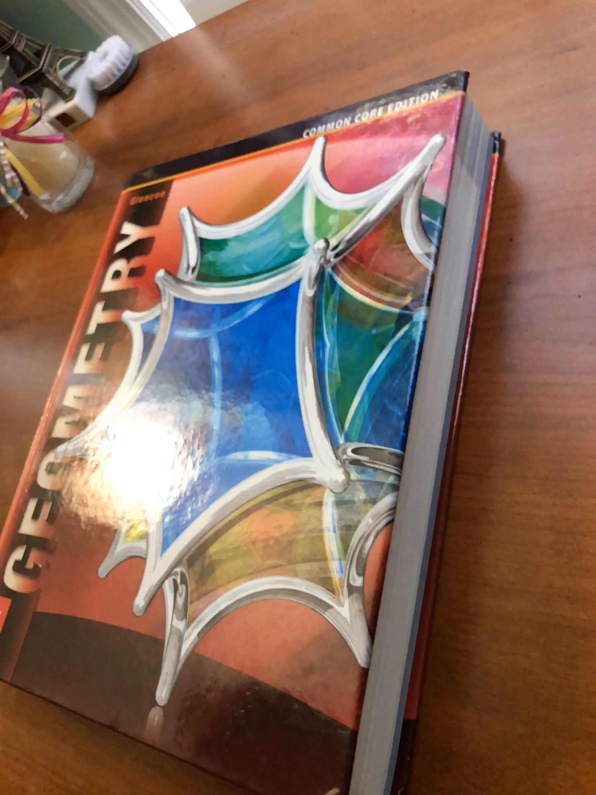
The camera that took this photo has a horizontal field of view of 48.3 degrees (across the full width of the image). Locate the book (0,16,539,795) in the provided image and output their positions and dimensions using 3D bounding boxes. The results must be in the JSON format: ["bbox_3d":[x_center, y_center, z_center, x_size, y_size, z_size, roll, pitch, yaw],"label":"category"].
[{"bbox_3d":[-0.026,-0.008,0.318,0.229,0.050,0.311,0,67,37],"label":"book"}]
